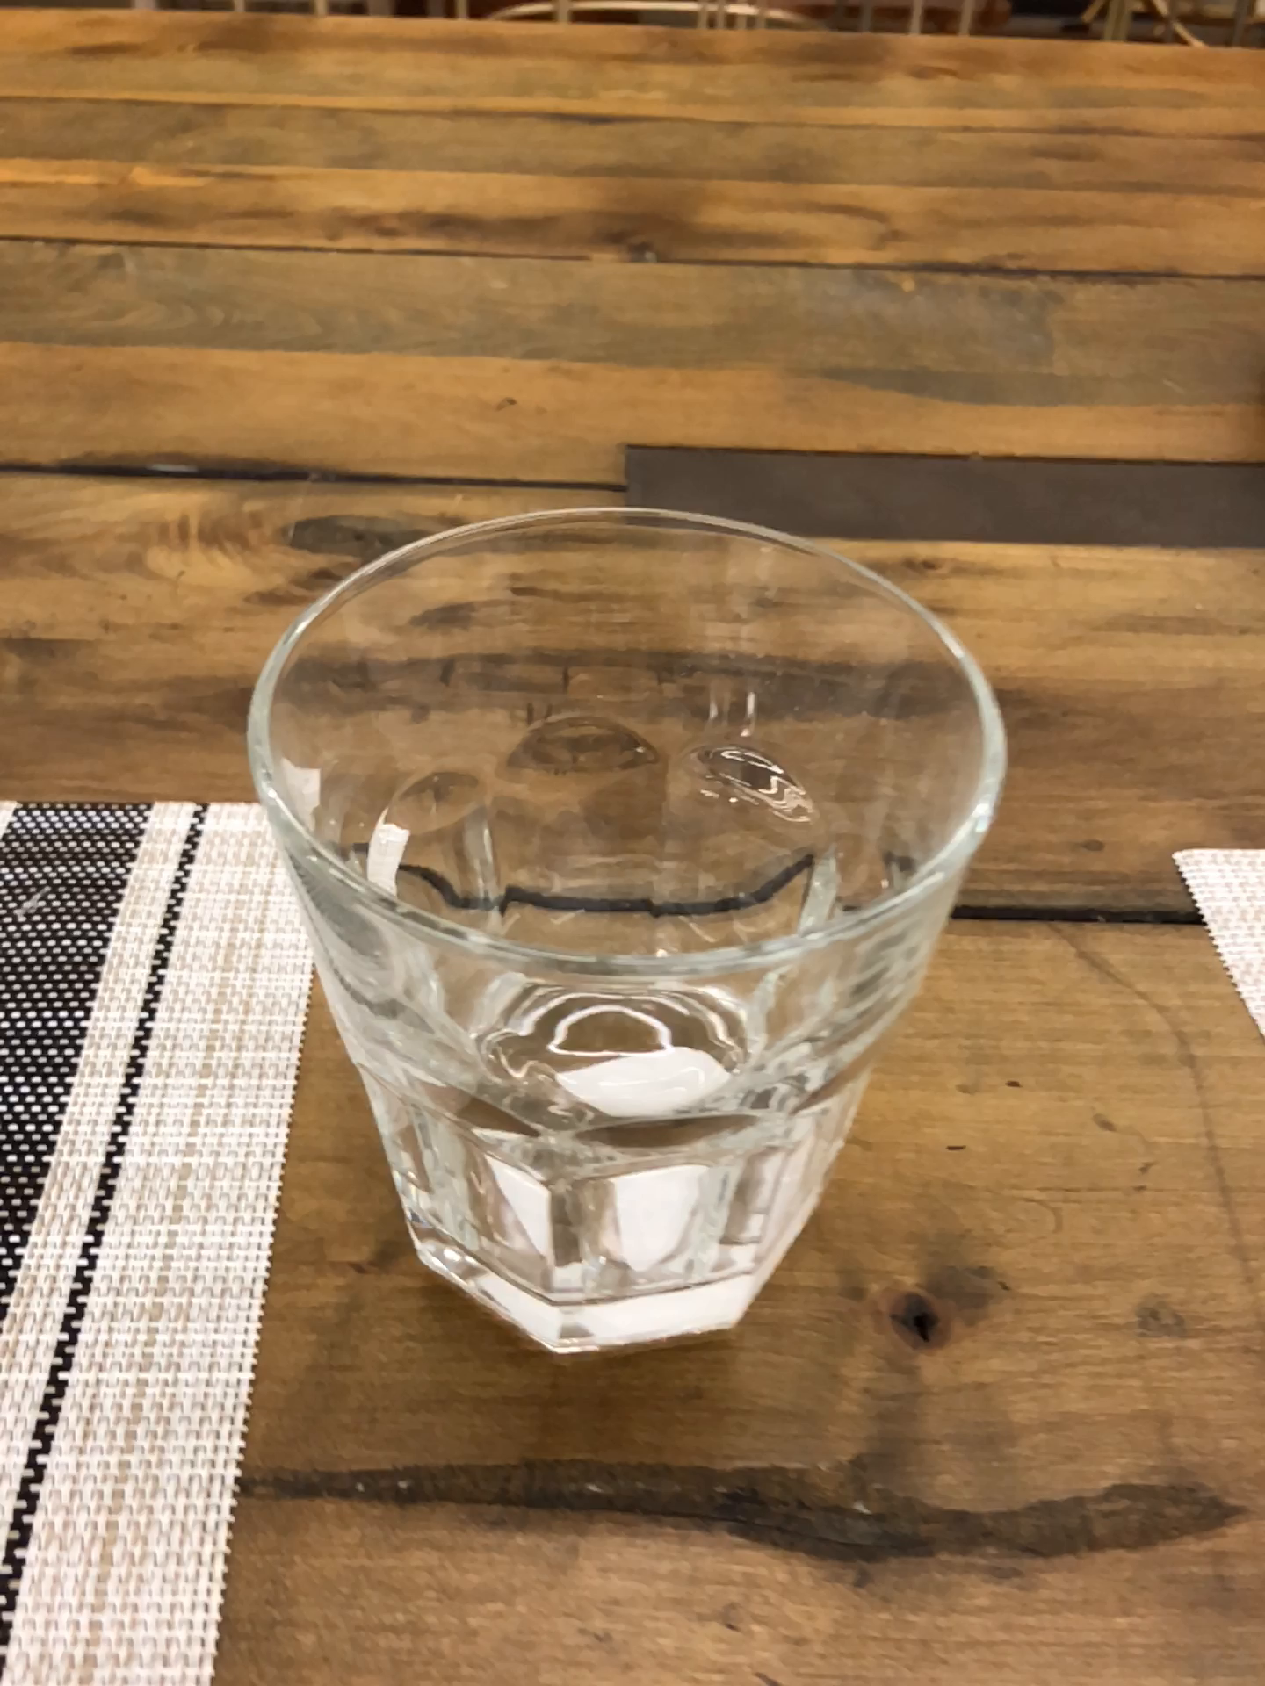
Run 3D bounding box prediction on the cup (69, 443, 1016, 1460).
[{"bbox_3d":[-0.002,0.010,0.186,0.087,0.081,0.090,1,42,-1],"label":"cup"}]
